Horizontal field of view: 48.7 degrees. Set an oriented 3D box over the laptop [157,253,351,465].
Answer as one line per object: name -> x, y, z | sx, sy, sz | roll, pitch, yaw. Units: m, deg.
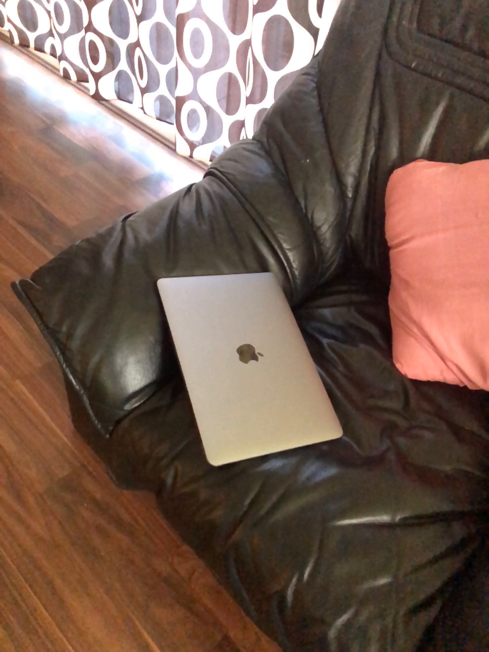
laptop -> 0.007, 0.024, 0.696 | 0.185, 0.036, 0.265 | -5, 58, -27
